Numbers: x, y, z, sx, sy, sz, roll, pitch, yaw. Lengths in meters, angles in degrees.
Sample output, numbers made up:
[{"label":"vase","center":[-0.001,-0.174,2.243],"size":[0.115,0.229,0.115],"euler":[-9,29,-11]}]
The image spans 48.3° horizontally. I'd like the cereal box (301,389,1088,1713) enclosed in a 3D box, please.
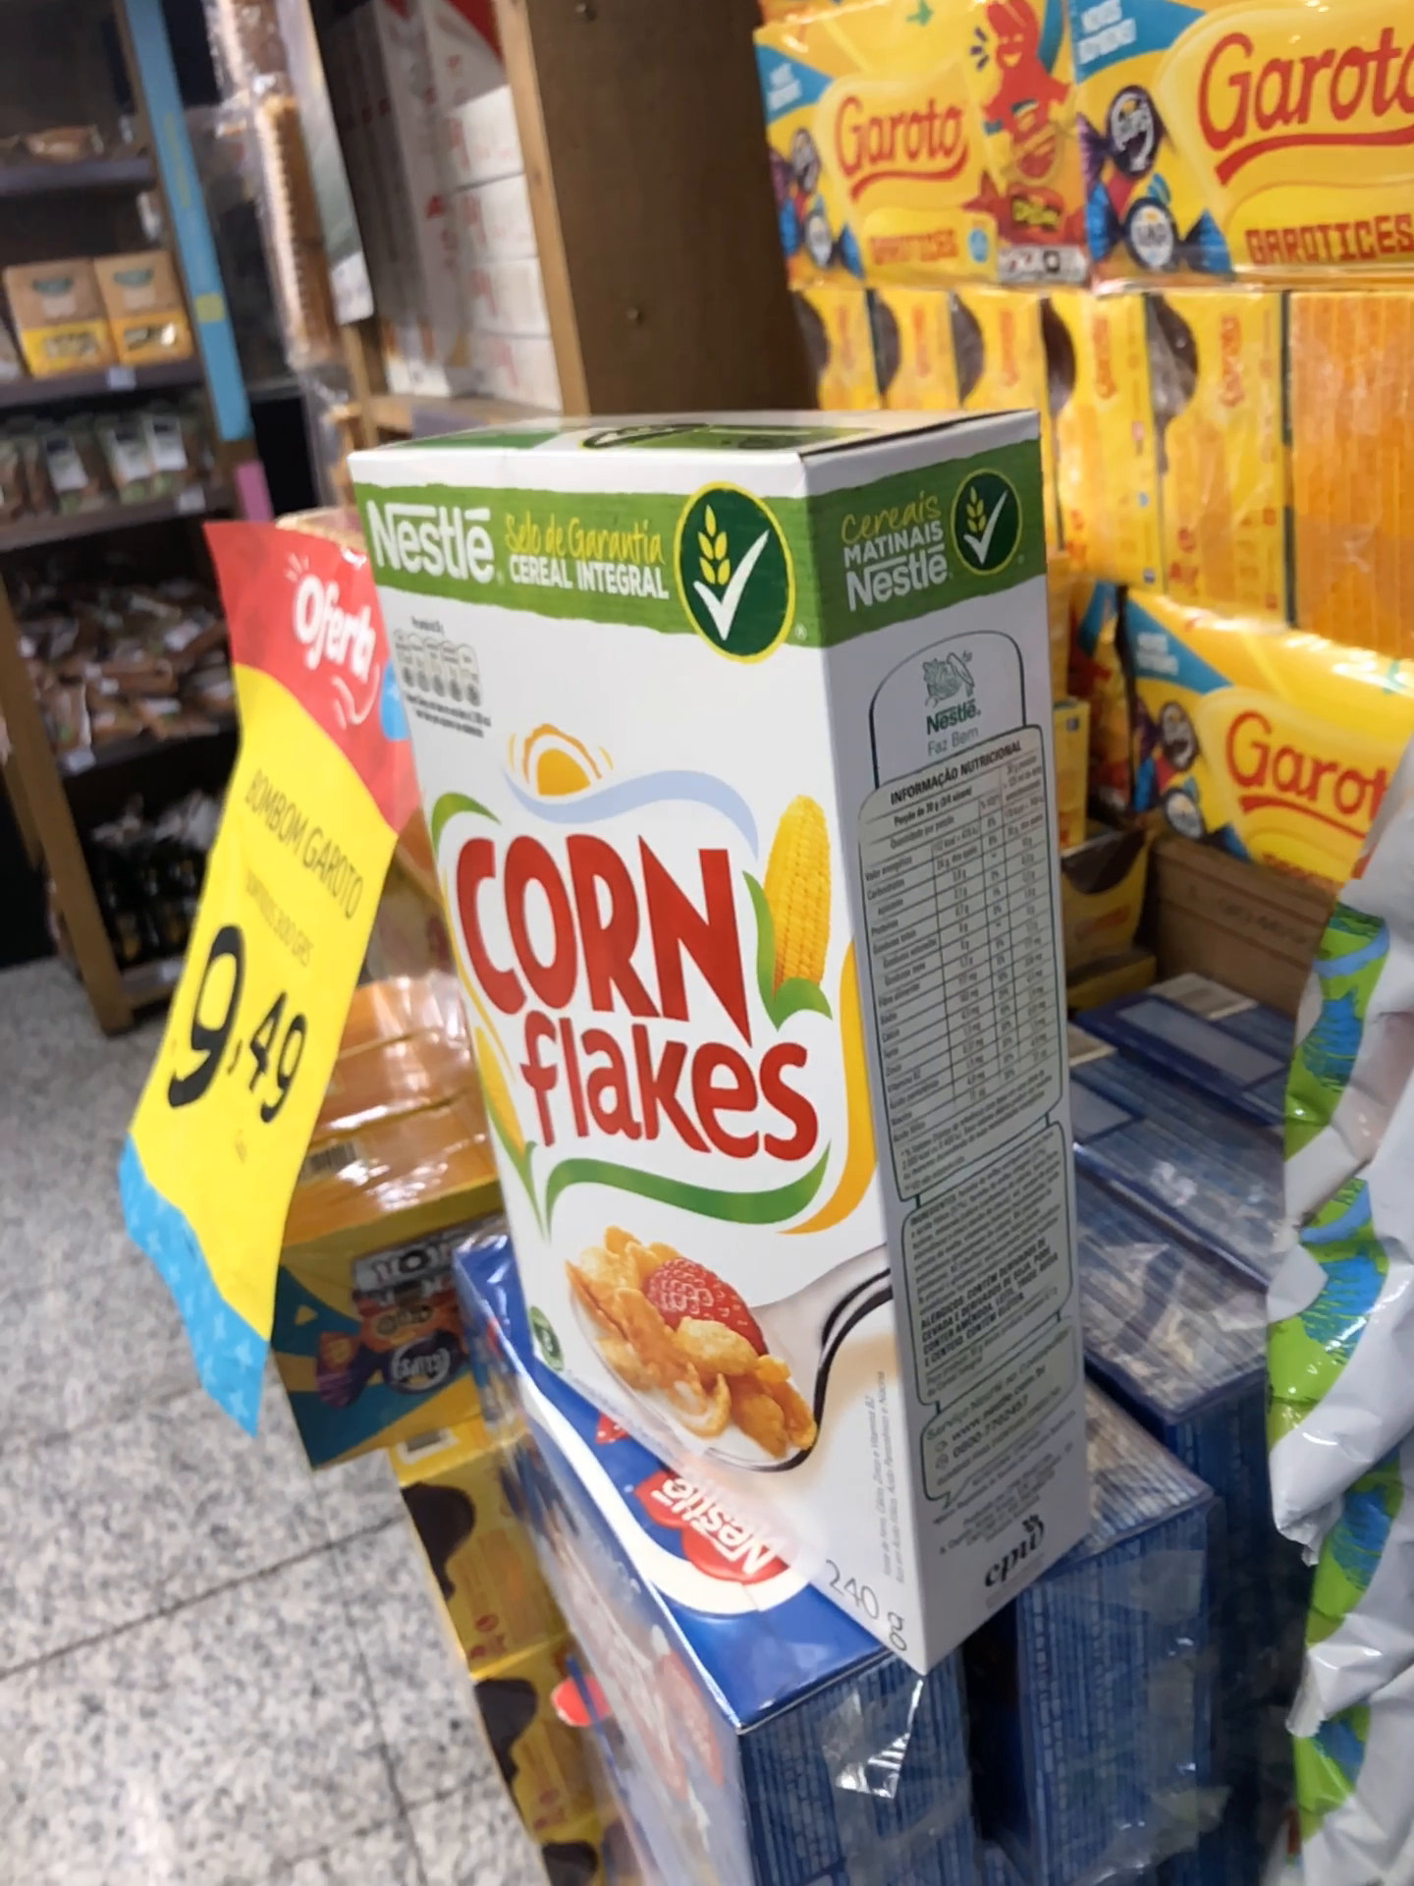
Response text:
[{"label":"cereal box","center":[-0.003,0.011,0.354],"size":[0.060,0.248,0.171],"euler":[-21,27,-32]}]
